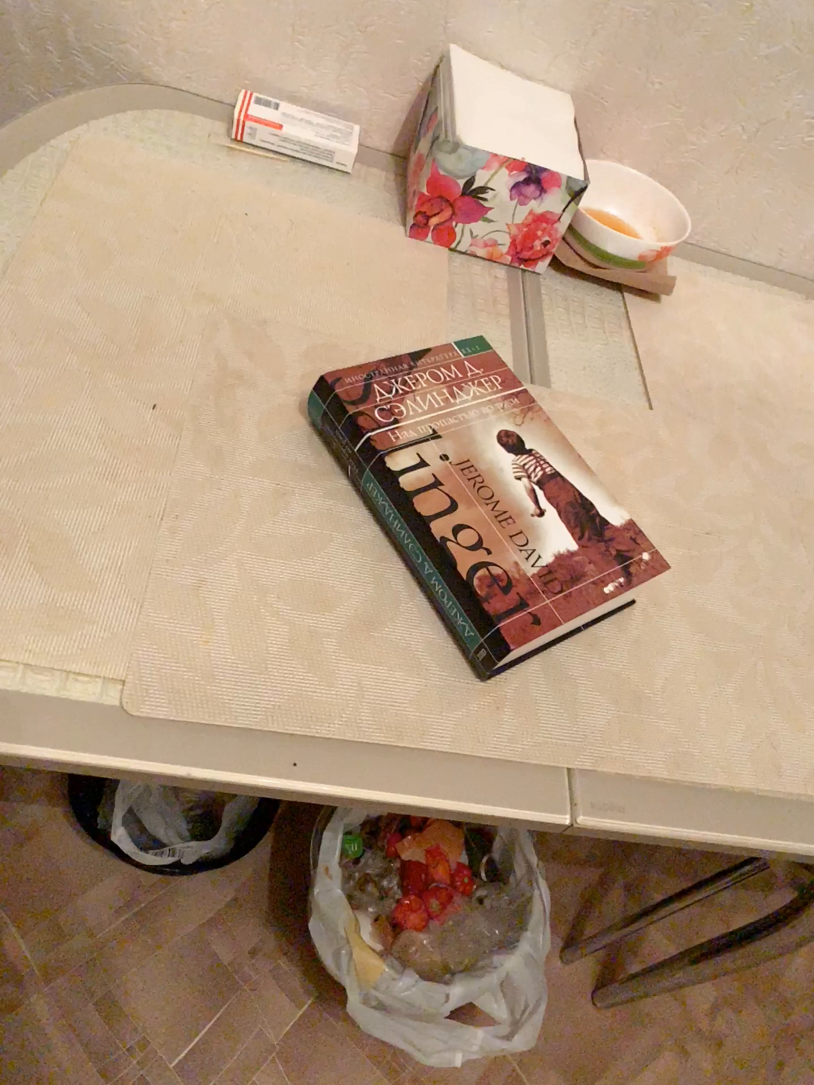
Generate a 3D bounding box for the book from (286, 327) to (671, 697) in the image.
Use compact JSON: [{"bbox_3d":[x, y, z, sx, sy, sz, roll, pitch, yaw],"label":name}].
[{"bbox_3d":[0.043,-0.033,0.542,0.150,0.049,0.221,-21,67,-32],"label":"book"}]
